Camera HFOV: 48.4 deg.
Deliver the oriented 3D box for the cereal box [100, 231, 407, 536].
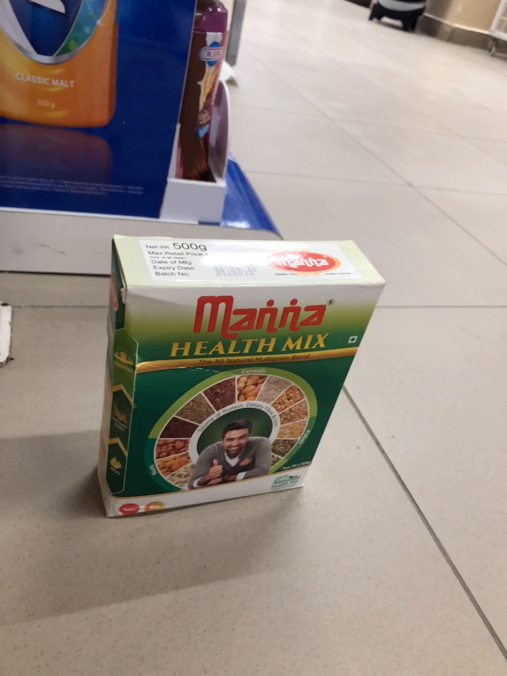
[{"bbox_3d":[-0.011,0.031,0.355,0.150,0.189,0.050,-3,38,-24],"label":"cereal box"}]
